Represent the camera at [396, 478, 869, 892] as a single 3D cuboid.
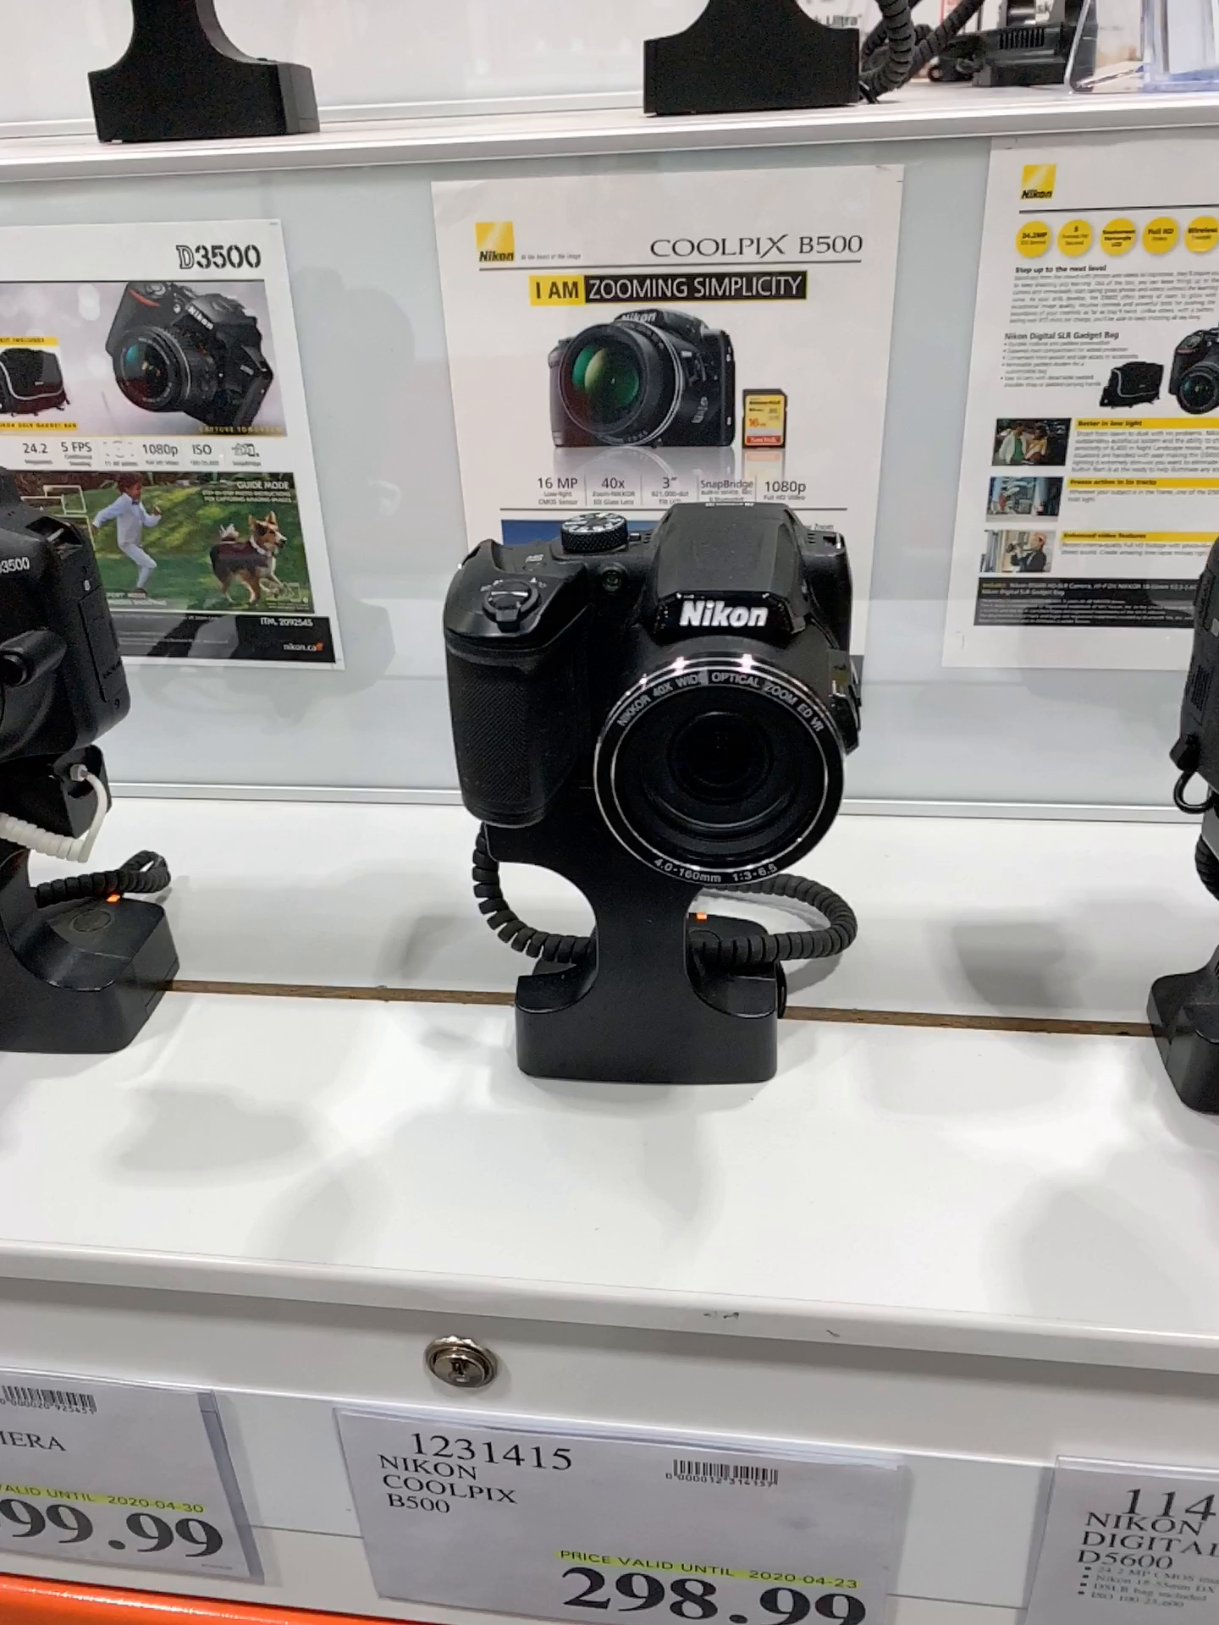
[{"bbox_3d":[0.010,-0.035,0.344,0.110,0.089,0.071,0,30,6],"label":"camera"}]
